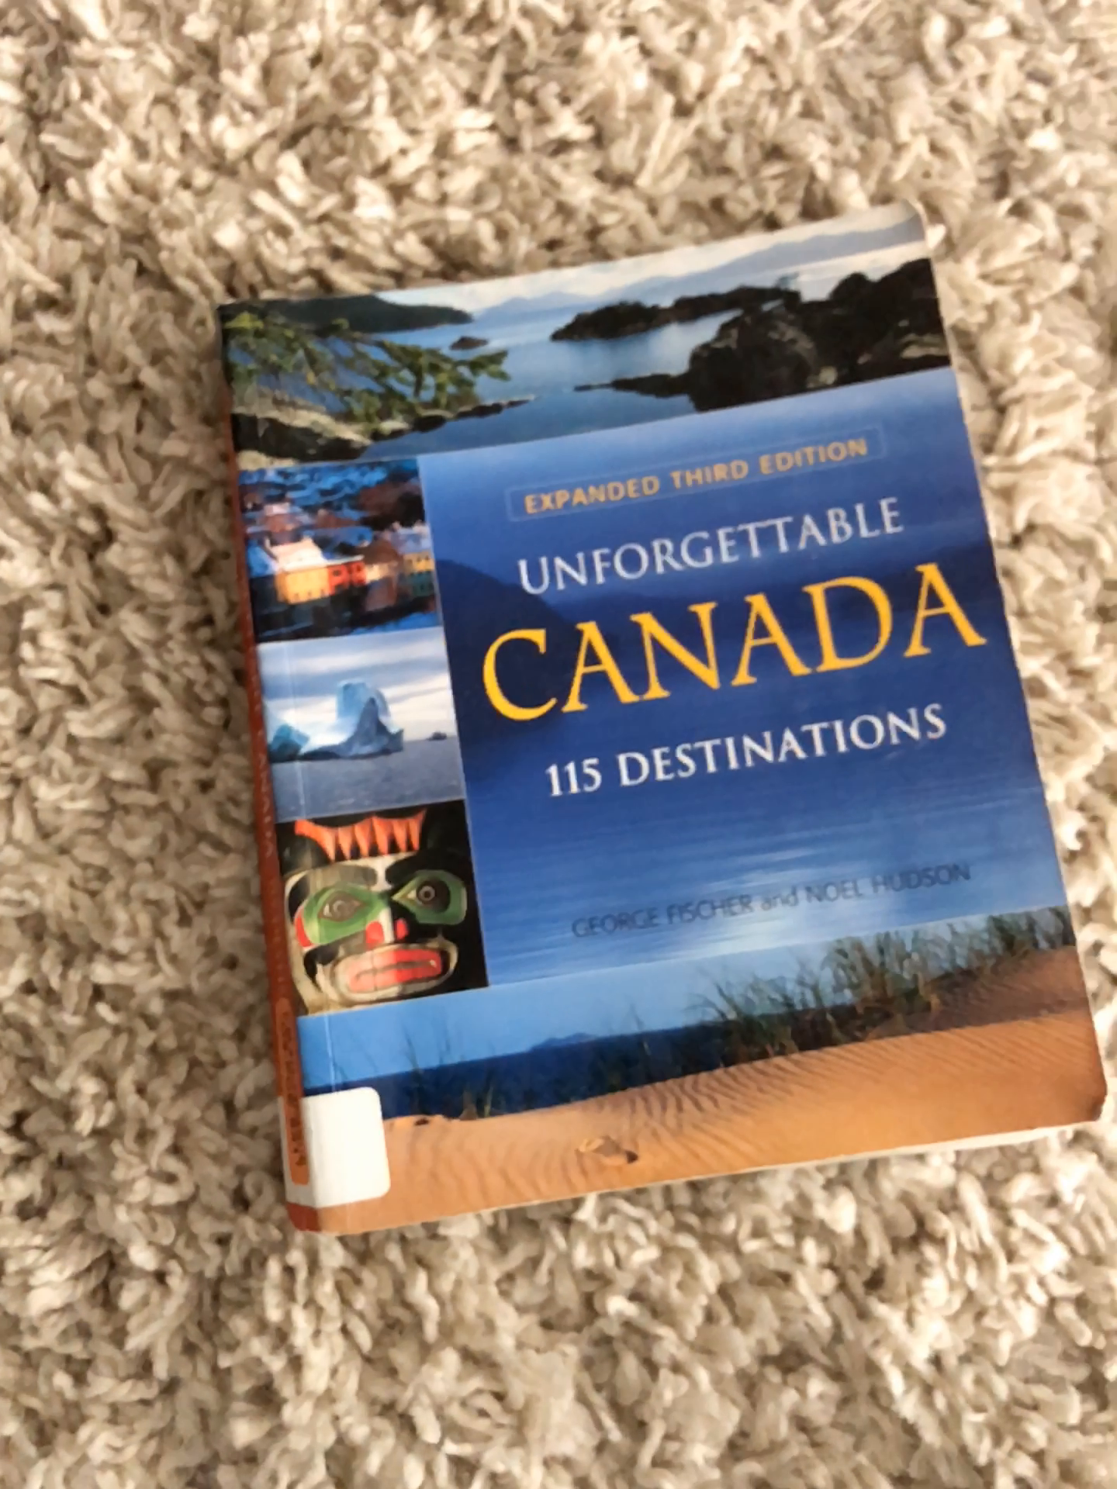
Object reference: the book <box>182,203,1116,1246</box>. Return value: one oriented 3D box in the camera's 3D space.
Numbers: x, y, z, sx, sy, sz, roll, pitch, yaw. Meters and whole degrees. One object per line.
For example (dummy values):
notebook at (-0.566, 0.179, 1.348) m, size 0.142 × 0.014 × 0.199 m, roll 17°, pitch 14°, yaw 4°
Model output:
book at (0.017, -0.008, 0.329) m, size 0.200 × 0.040 × 0.234 m, roll -8°, pitch 81°, yaw 1°
